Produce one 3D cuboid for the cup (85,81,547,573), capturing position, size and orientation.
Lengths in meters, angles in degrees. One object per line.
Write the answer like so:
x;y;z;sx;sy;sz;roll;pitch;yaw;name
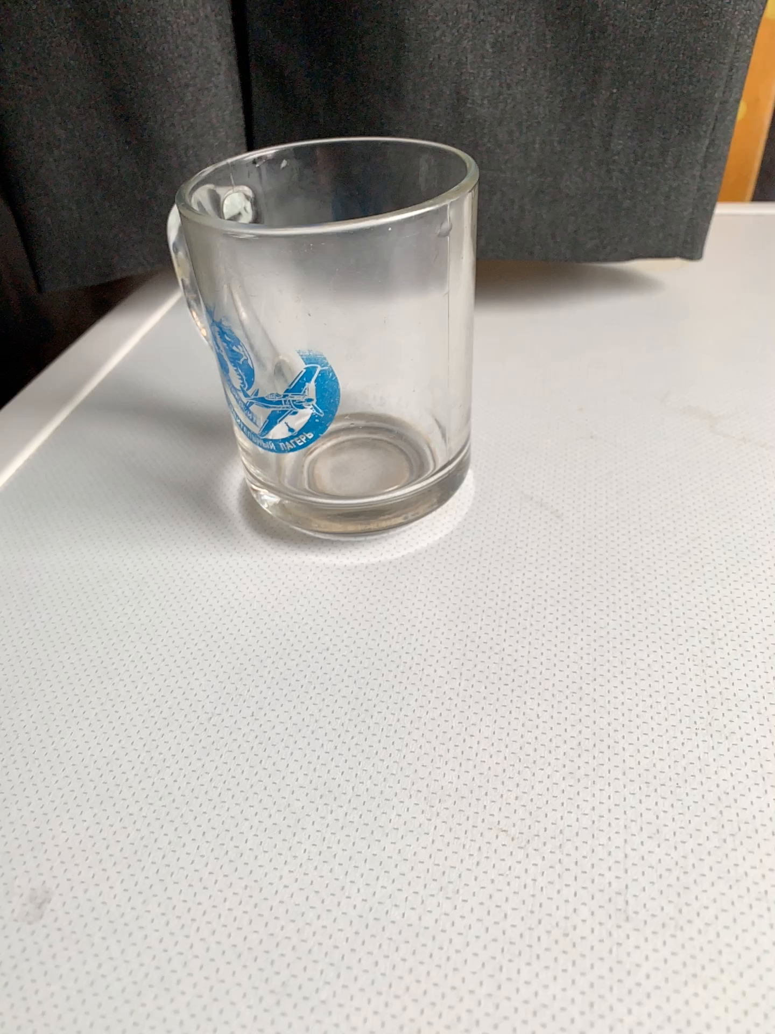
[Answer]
-0.017;-0.057;0.218;0.070;0.089;0.090;-30;44;-28;cup
